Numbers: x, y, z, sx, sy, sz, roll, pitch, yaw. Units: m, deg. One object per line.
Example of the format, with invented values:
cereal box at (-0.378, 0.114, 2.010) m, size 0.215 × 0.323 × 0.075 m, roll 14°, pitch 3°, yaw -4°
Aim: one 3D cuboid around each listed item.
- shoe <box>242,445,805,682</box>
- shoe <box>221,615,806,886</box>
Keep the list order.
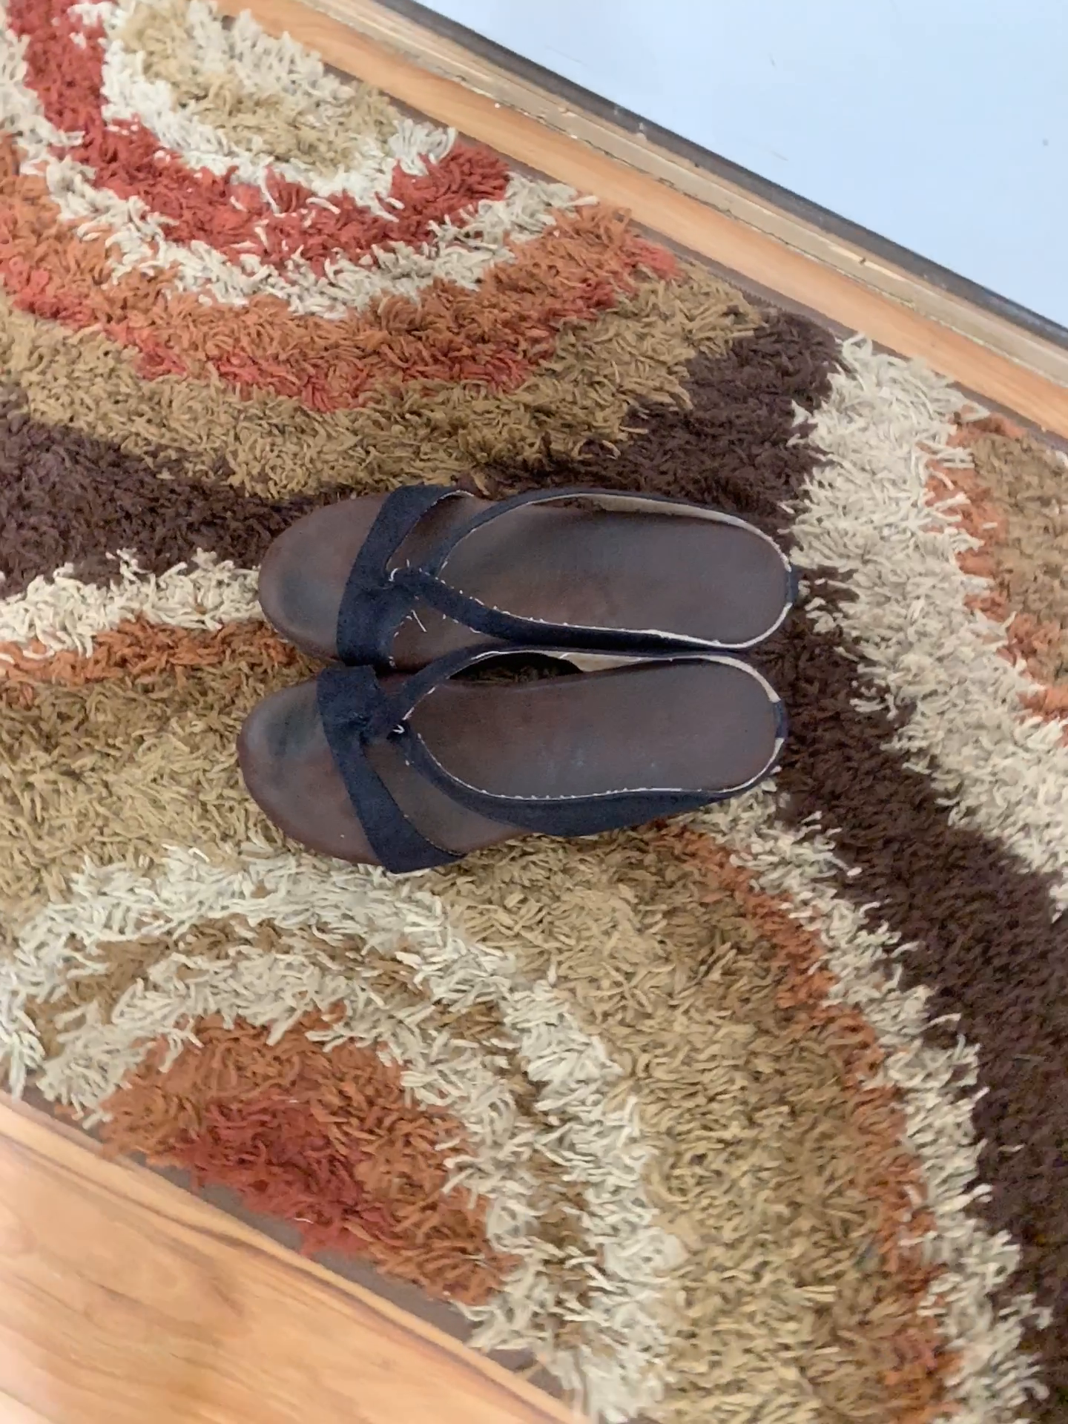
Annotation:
shoe at (-0.005, -0.063, 0.467) m, size 0.223 × 0.052 × 0.084 m, roll -2°, pitch 77°, yaw -4°
shoe at (-0.010, 0.018, 0.456) m, size 0.222 × 0.062 × 0.090 m, roll -3°, pitch 78°, yaw -5°
